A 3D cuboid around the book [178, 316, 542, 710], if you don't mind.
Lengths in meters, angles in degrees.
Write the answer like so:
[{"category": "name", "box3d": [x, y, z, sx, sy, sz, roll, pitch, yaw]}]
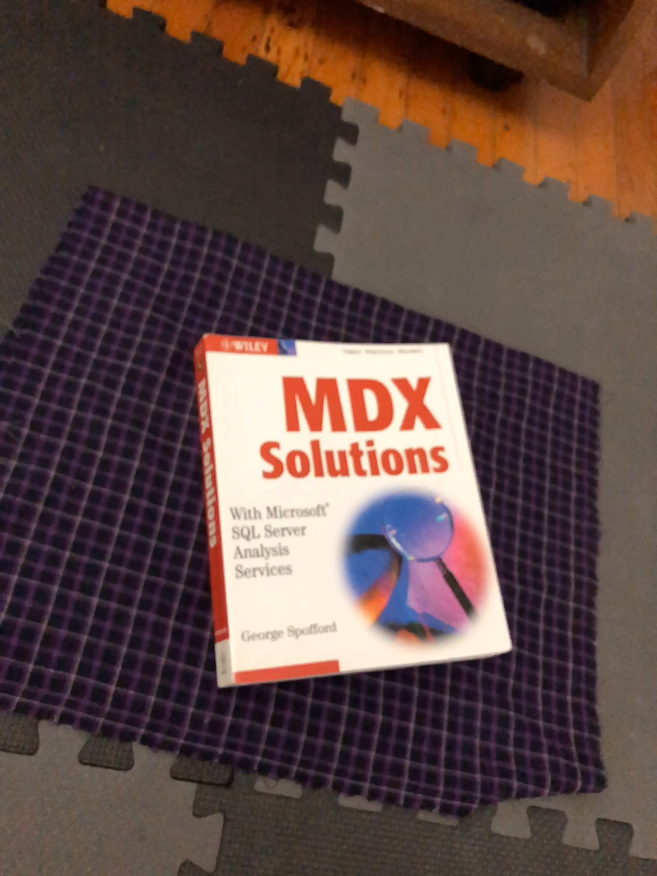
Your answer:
[{"category": "book", "box3d": [0.015, 0.042, 0.531, 0.220, 0.050, 0.260, -1, 67, -20]}]
